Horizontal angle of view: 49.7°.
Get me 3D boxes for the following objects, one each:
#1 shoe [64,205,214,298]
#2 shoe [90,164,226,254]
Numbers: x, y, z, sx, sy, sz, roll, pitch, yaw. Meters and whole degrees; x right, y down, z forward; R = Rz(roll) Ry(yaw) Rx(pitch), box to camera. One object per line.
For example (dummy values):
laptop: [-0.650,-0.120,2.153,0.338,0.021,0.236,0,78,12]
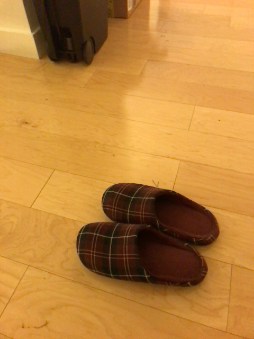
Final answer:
shoe: [0.028,0.156,0.544,0.270,0.050,0.121,8,50,9]
shoe: [0.066,0.077,0.592,0.260,0.050,0.121,14,51,14]
